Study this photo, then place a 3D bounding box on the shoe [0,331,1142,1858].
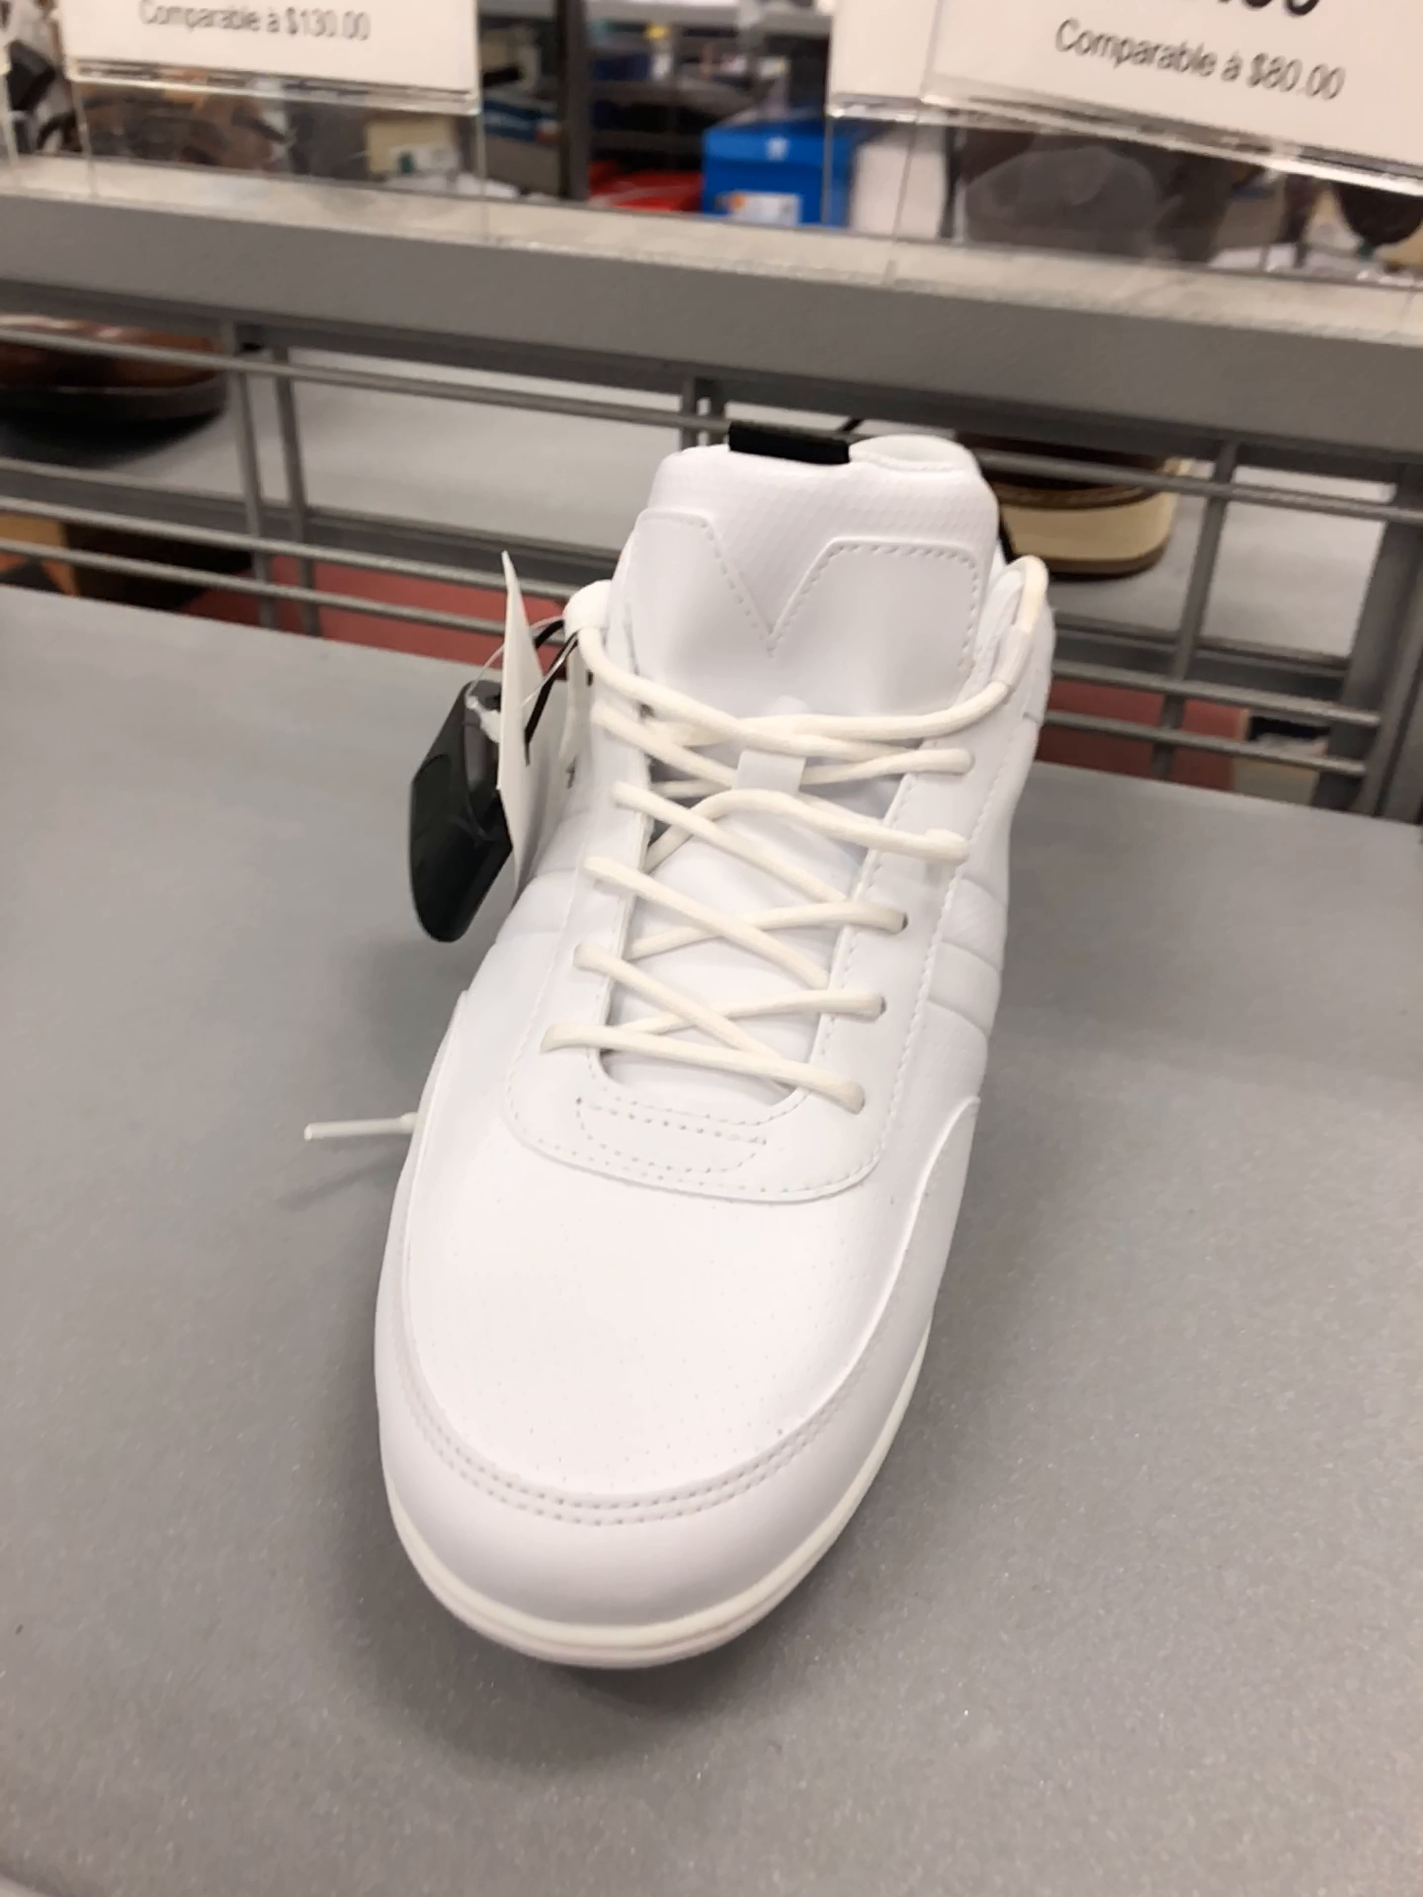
[{"bbox_3d":[0.011,-0.015,0.289,0.110,0.119,0.272,9,35,10],"label":"shoe"}]
